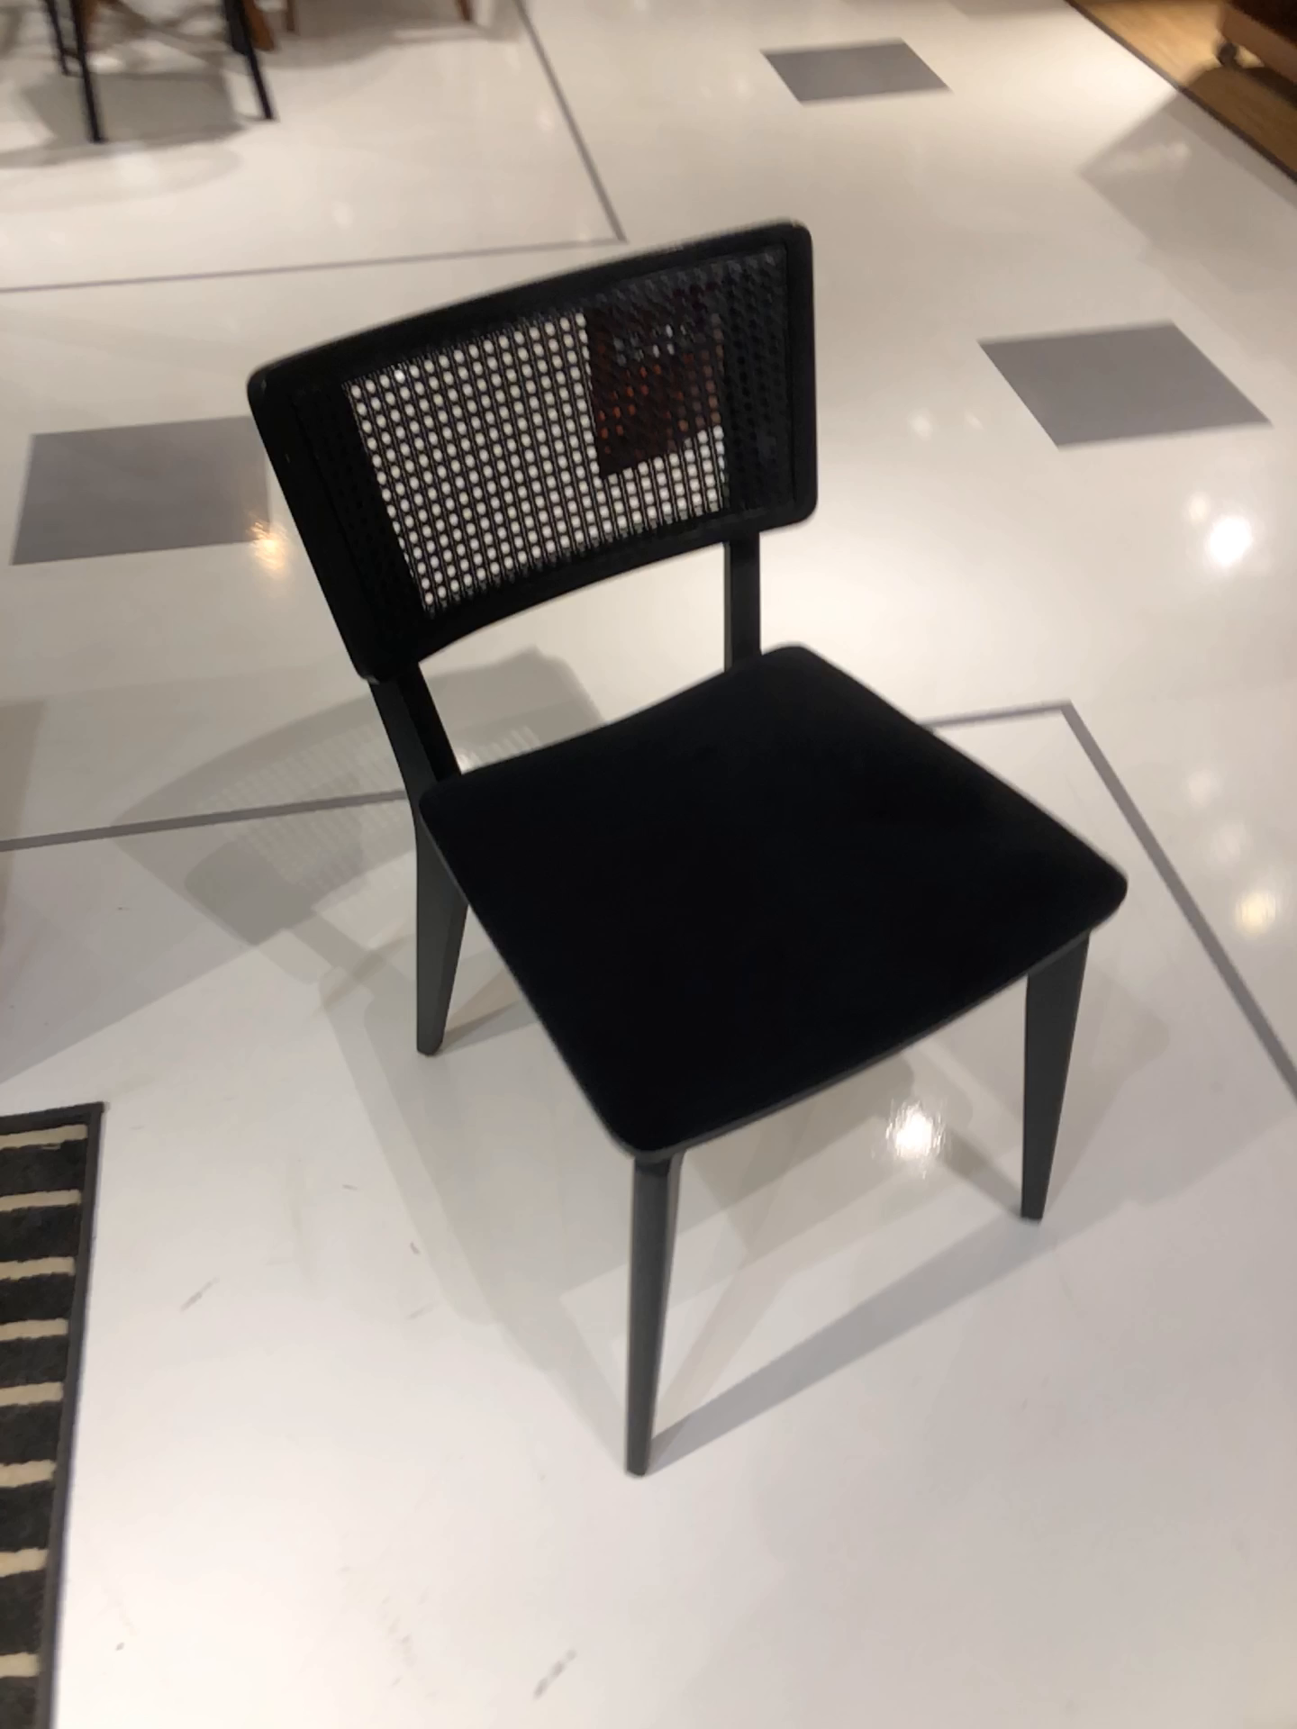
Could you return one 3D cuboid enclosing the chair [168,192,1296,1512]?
[{"bbox_3d":[0.057,-0.007,1.143,0.531,0.745,0.553,-25,51,-22],"label":"chair"}]
